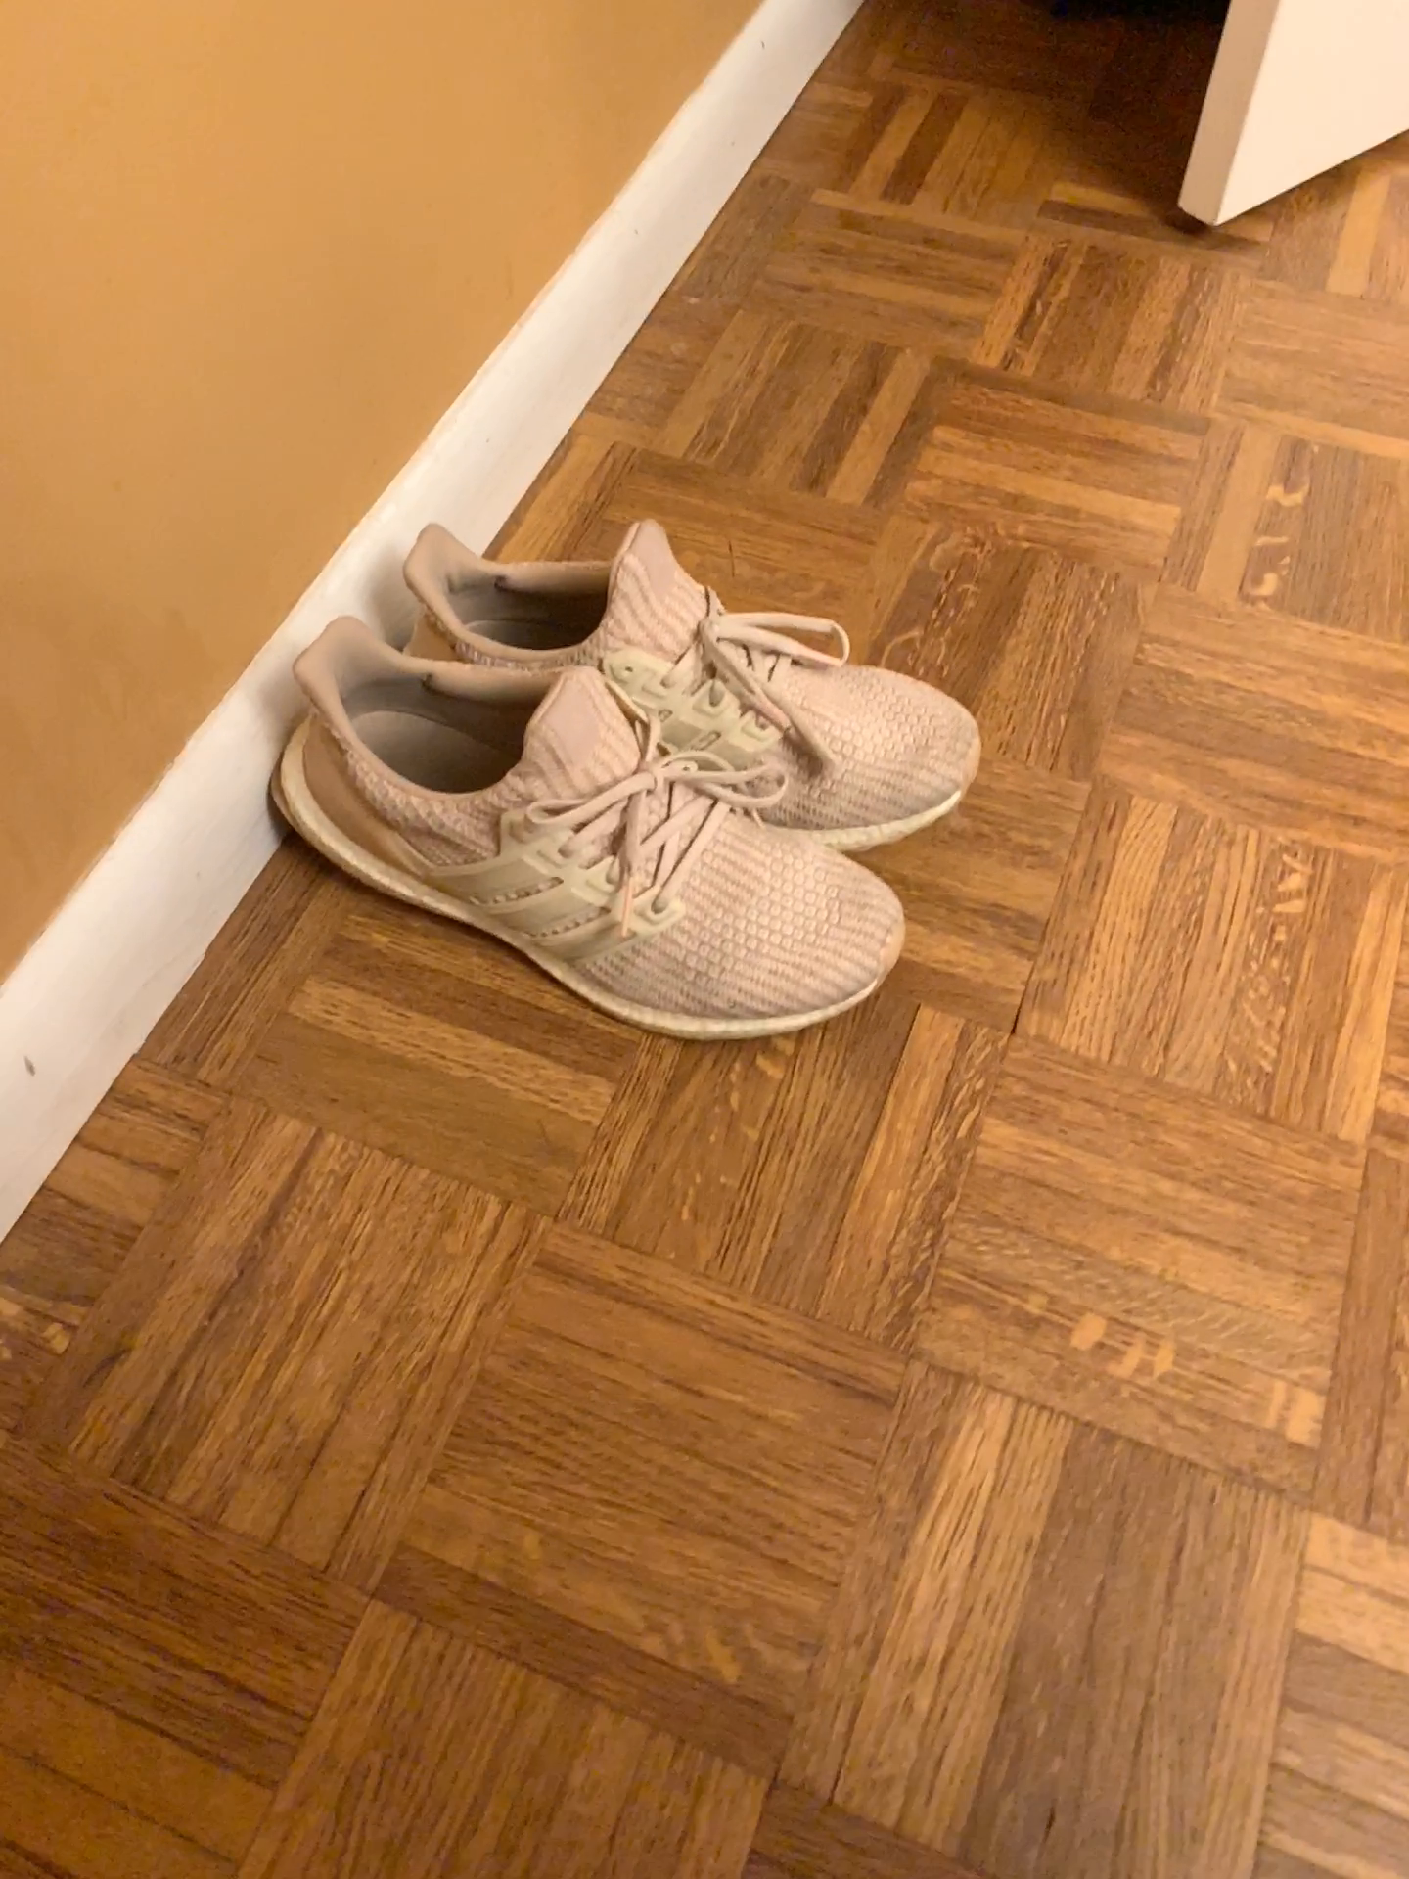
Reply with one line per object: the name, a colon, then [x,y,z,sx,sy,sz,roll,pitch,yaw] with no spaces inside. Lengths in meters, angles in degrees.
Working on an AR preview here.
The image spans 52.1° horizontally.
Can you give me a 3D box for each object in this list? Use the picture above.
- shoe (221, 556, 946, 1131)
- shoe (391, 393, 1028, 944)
shoe: [-0.056,-0.038,0.644,0.280,0.130,0.100,24,60,3]
shoe: [-0.003,-0.124,0.682,0.260,0.120,0.110,25,60,1]
